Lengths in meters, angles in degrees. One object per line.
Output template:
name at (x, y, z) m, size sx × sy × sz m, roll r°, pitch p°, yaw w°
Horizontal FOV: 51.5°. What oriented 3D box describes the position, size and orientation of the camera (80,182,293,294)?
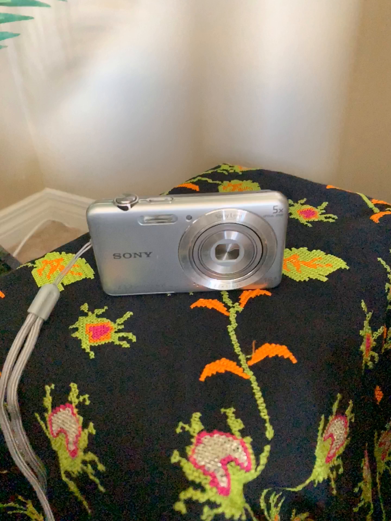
camera at (-0.003, -0.010, 0.183) m, size 0.086 × 0.042 × 0.020 m, roll -3°, pitch 34°, yaw 1°
